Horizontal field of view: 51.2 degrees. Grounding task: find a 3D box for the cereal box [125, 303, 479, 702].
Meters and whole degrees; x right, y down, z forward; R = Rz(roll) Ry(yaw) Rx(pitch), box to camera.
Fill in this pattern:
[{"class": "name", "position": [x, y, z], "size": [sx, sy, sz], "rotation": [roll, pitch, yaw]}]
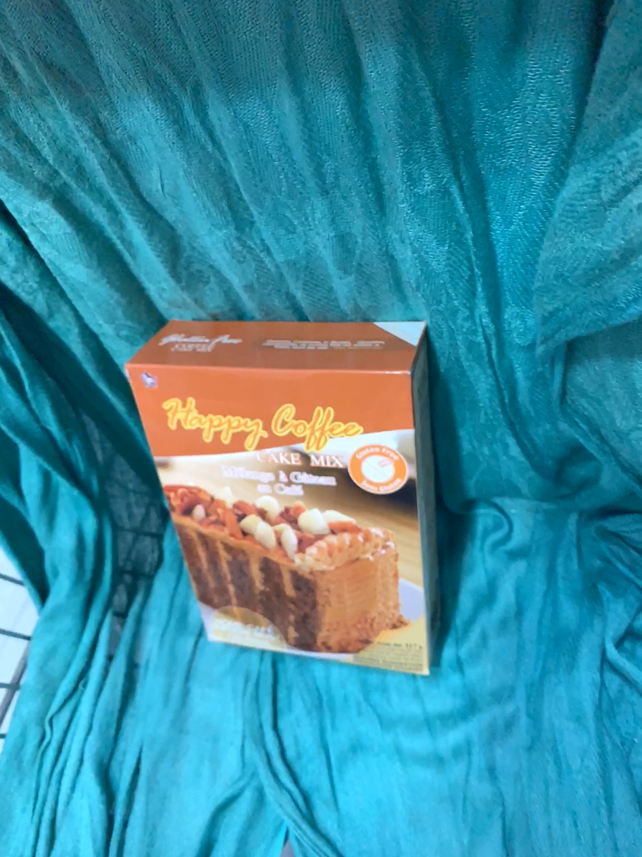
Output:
[{"class": "cereal box", "position": [0.003, 0.043, 0.351], "size": [0.150, 0.210, 0.050], "rotation": [3, 33, 17]}]
